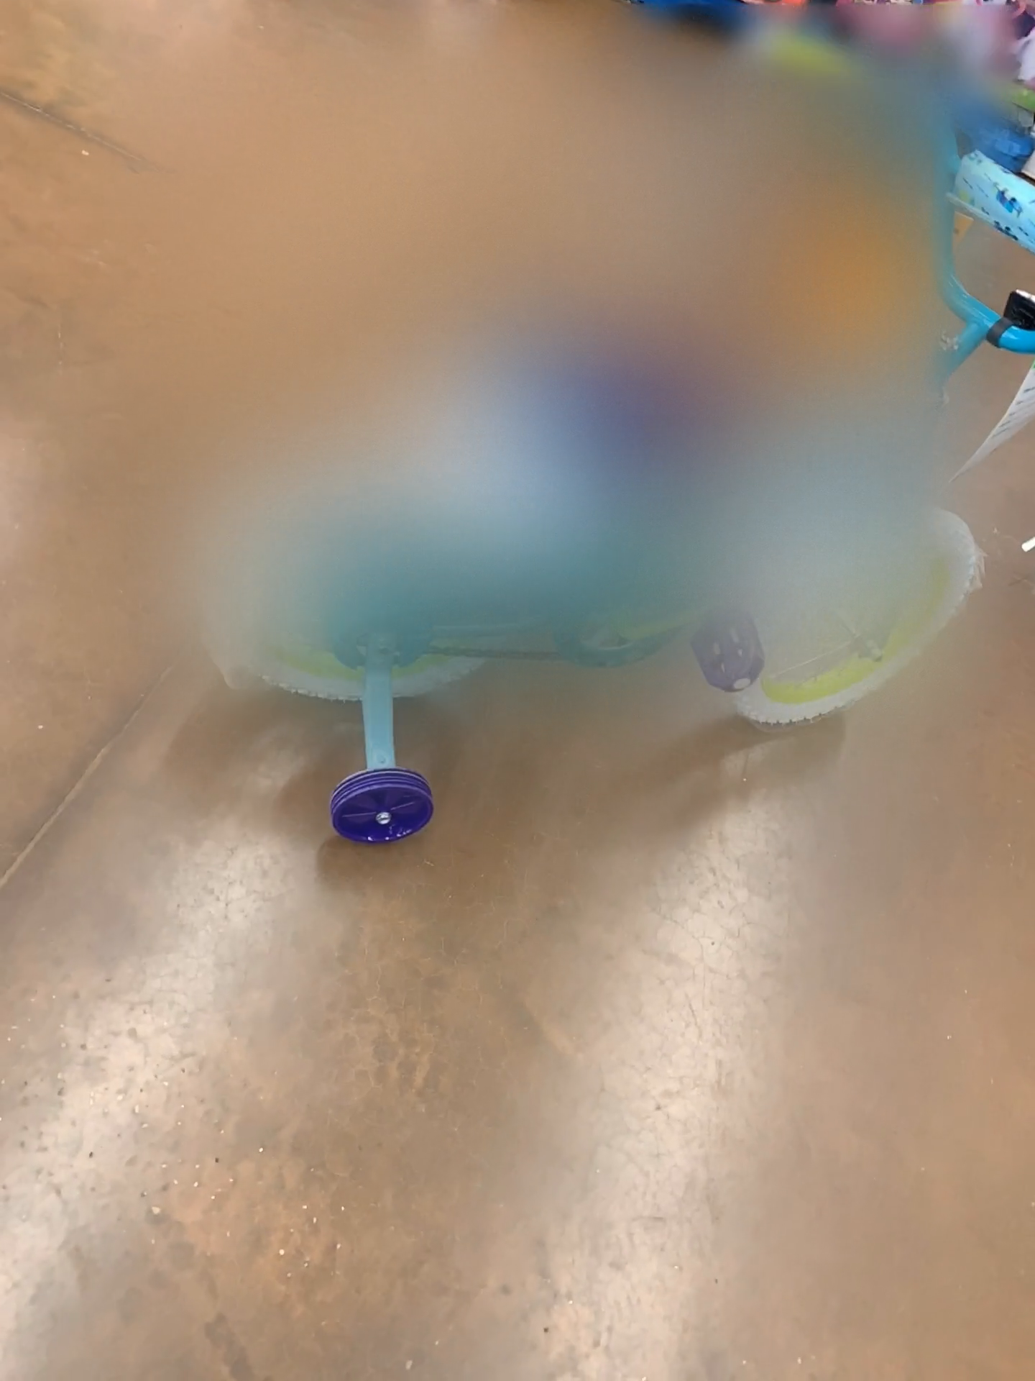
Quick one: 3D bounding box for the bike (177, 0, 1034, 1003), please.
[{"bbox_3d":[0.185,-0.192,0.982,0.860,0.639,0.624,-3,55,-24],"label":"bike"}]
